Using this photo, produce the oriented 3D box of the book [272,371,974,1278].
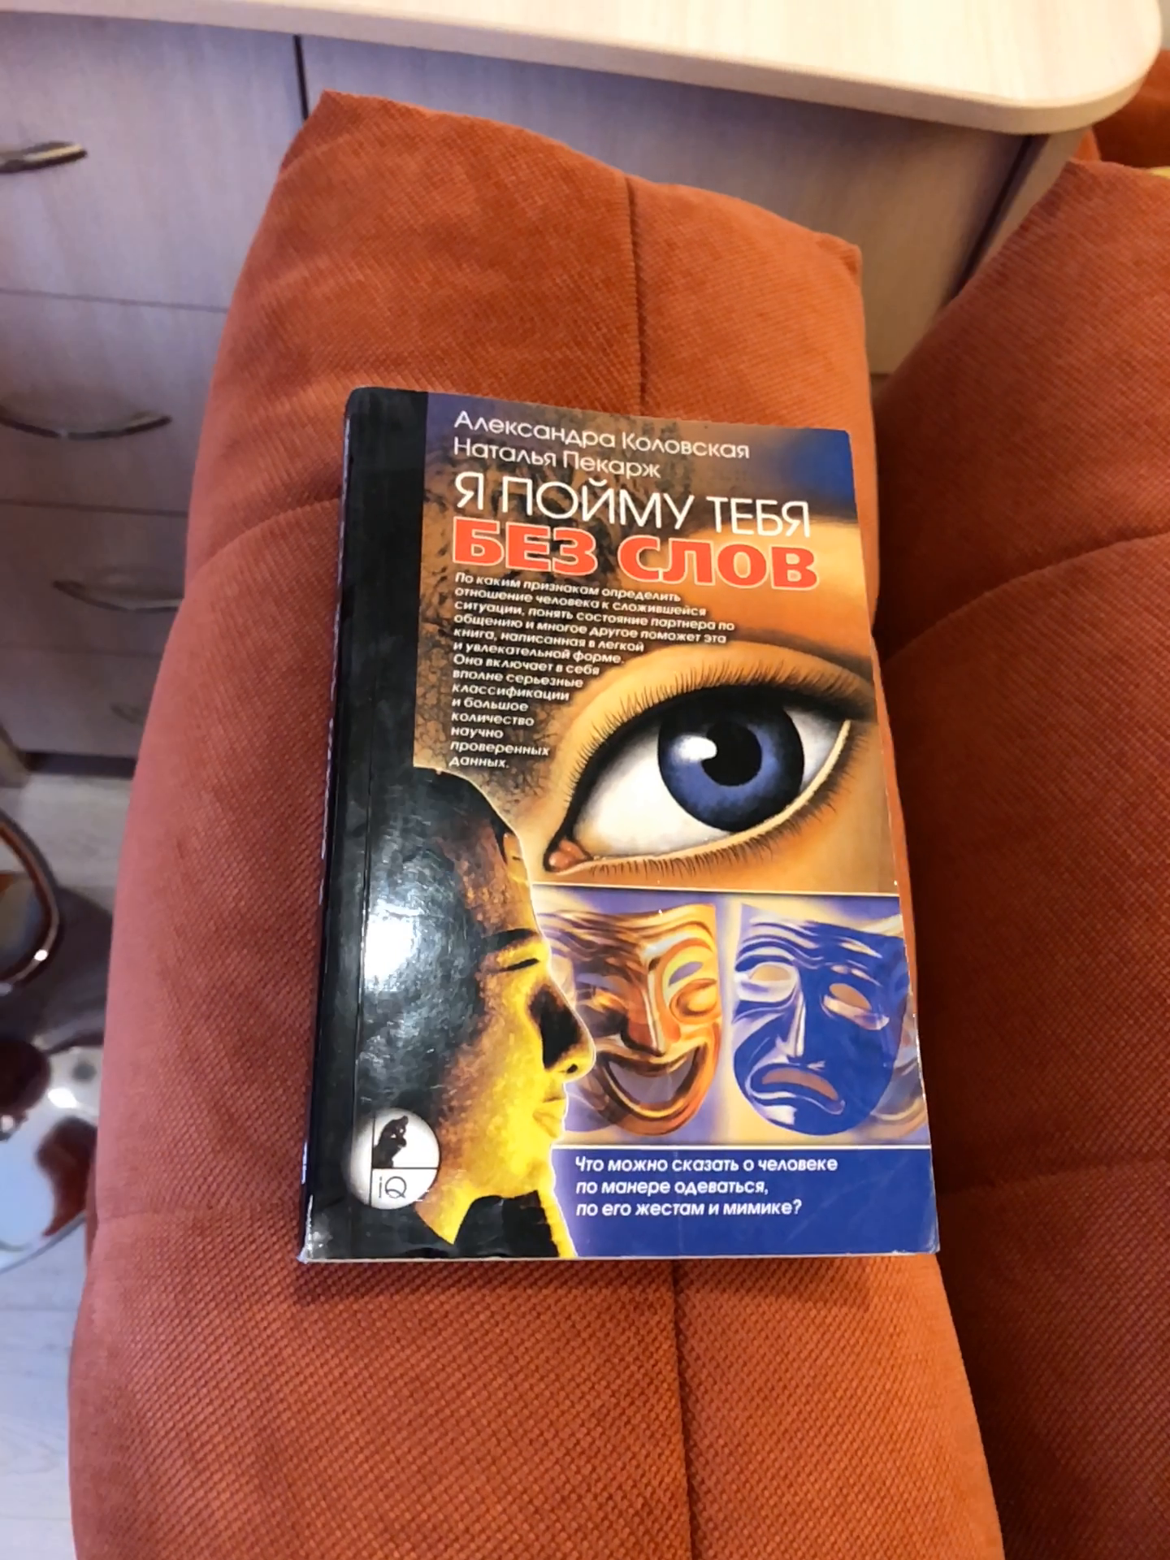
[{"bbox_3d":[0.006,0.005,0.281,0.128,0.030,0.191,3,69,-9],"label":"book"}]
